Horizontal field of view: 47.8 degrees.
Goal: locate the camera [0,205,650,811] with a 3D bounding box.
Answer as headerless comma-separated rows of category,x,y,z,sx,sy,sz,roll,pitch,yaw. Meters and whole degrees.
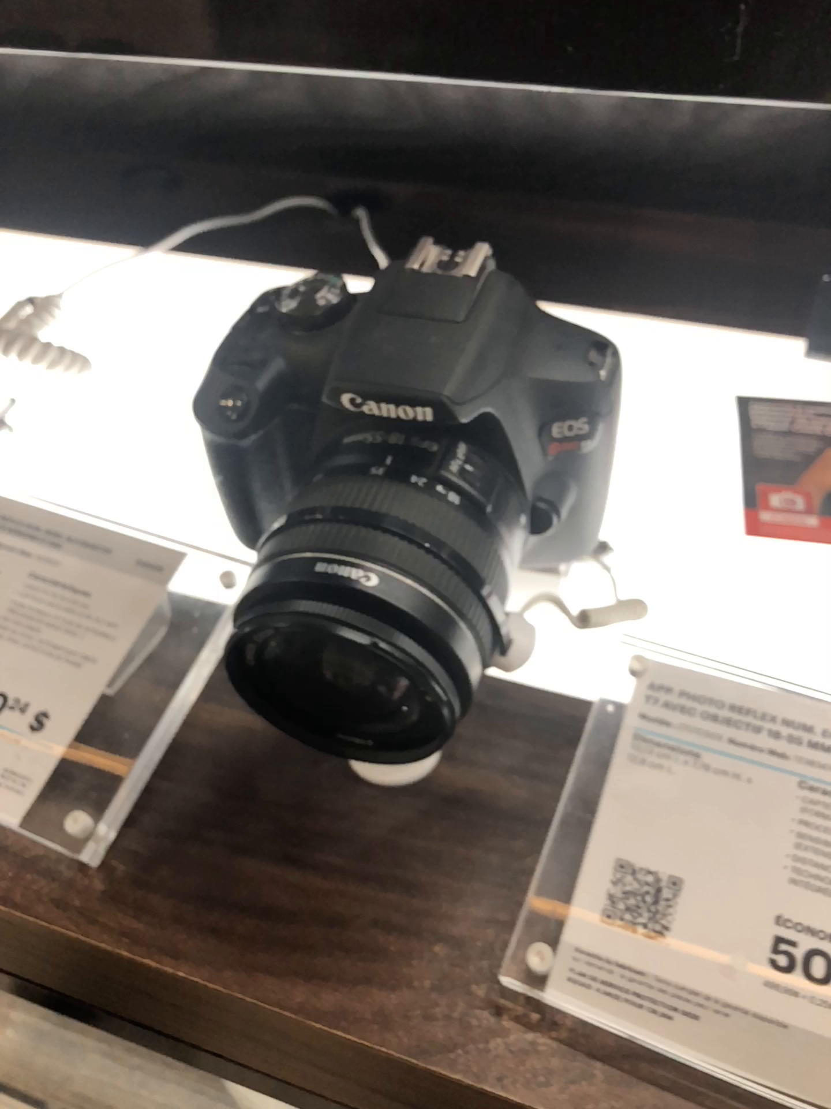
camera,-0.014,-0.020,0.258,0.128,0.099,0.112,10,44,15
